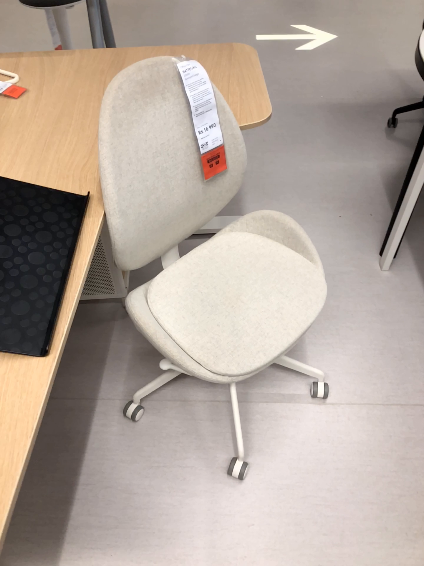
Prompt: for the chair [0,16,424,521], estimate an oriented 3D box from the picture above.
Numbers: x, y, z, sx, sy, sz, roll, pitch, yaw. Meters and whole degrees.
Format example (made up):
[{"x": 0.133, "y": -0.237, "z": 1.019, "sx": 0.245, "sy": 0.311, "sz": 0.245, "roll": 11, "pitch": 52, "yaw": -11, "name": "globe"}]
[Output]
[{"x": 0.019, "y": 0.000, "z": 1.236, "sx": 0.622, "sy": 0.994, "sz": 0.662, "roll": 36, "pitch": 58, "yaw": 28, "name": "chair"}]
